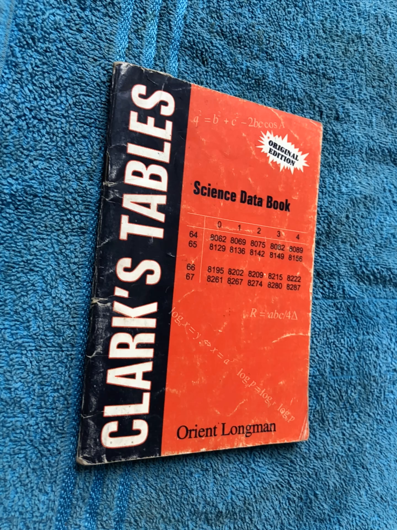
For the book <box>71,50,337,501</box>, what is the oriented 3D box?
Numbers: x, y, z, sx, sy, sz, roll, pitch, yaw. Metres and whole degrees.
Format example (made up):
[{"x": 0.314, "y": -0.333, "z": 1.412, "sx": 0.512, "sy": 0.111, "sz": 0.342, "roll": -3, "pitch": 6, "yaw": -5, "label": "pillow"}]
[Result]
[{"x": 0.009, "y": 0.007, "z": 0.219, "sx": 0.120, "sy": 0.030, "sz": 0.180, "roll": 6, "pitch": 86, "yaw": -28, "label": "book"}]
